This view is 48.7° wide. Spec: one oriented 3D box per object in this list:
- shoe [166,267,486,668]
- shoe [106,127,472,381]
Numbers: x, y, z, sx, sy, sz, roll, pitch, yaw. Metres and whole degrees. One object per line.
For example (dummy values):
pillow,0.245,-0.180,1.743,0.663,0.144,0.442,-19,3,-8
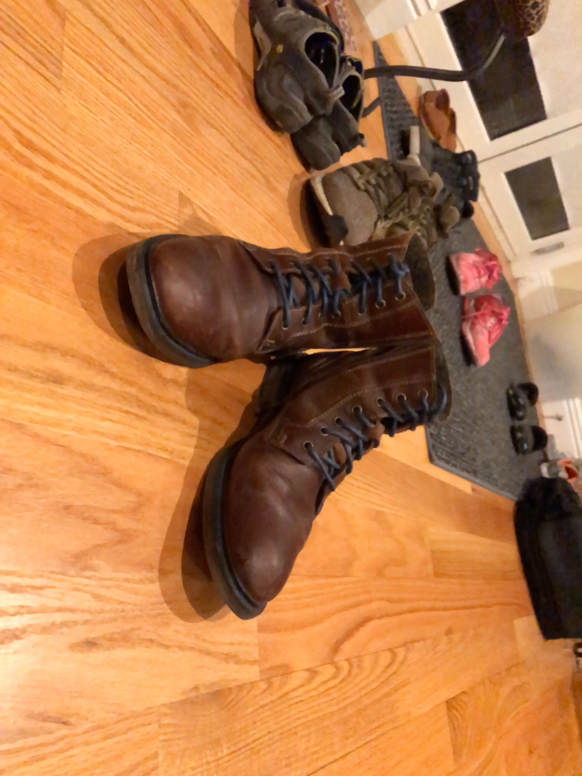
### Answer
shoe,0.056,0.054,0.539,0.128,0.176,0.305,59,31,-30
shoe,0.027,-0.087,0.545,0.311,0.168,0.113,-7,84,-63
